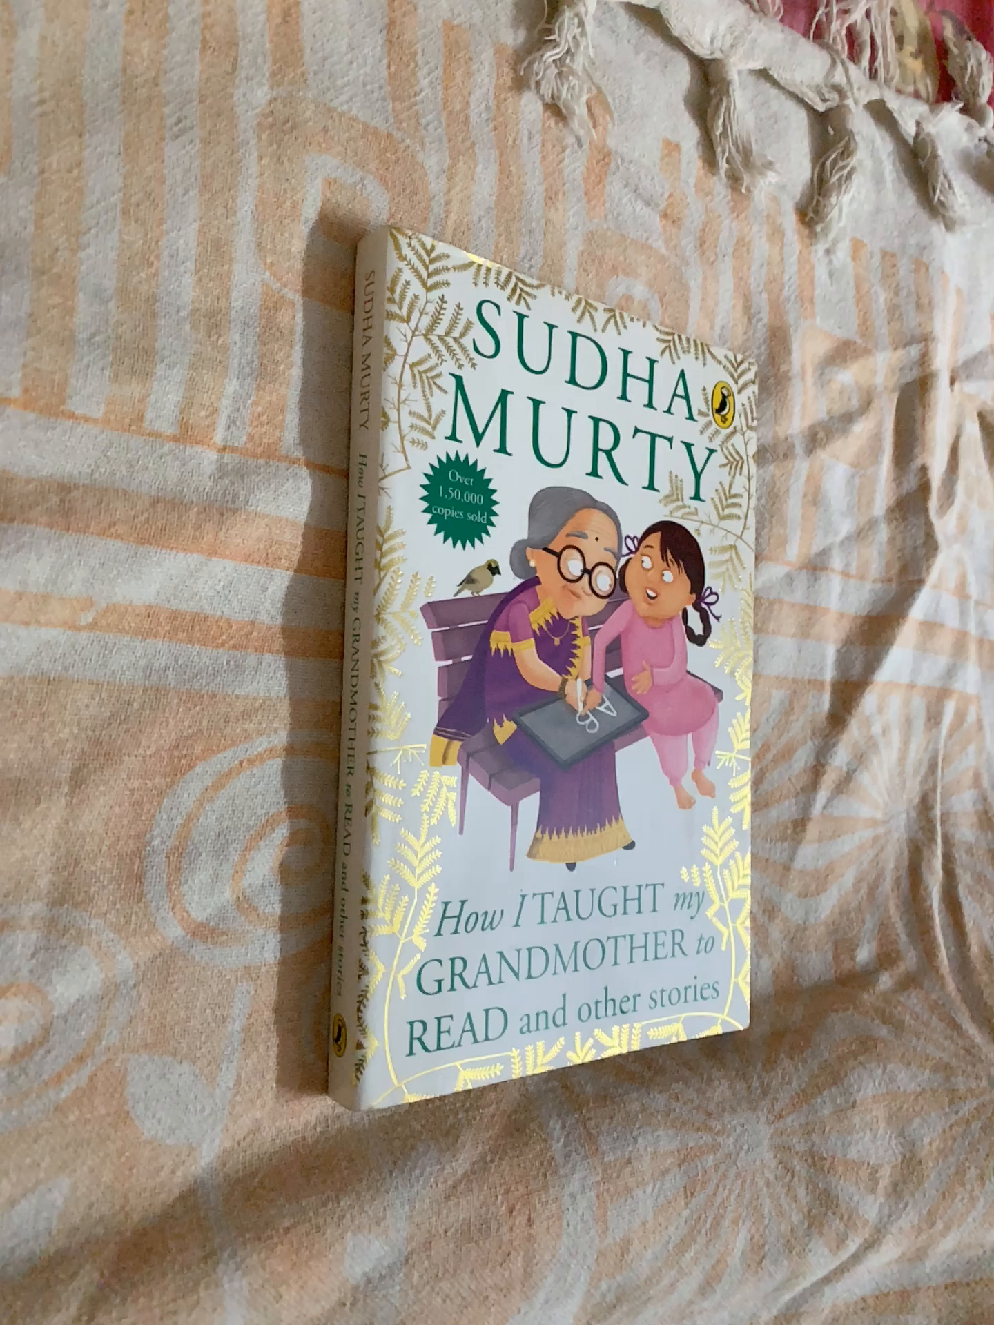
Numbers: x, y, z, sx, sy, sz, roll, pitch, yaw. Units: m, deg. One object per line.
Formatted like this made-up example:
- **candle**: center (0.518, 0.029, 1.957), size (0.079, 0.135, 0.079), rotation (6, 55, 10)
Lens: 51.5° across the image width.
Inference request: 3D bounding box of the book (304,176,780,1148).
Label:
- **book**: center (0.017, -0.001, 0.257), size (0.131, 0.020, 0.200), rotation (4, 83, -36)
